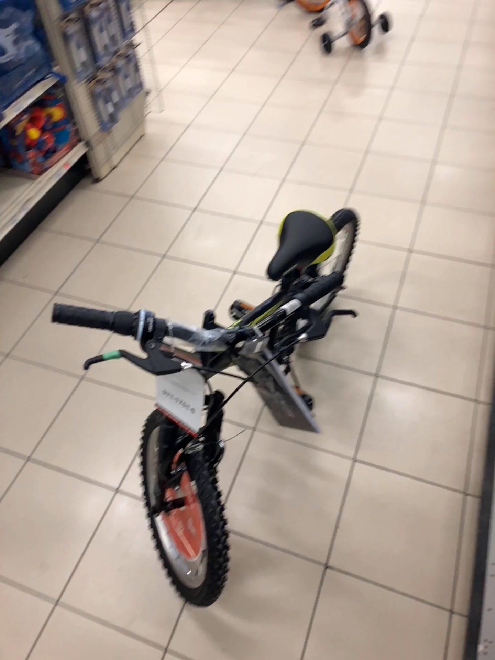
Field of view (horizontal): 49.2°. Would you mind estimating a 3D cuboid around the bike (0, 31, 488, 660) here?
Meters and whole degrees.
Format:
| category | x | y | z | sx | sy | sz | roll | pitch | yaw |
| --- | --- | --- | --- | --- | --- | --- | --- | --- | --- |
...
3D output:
| category | x | y | z | sx | sy | sz | roll | pitch | yaw |
| --- | --- | --- | --- | --- | --- | --- | --- | --- | --- |
| bike | 0.115 | -0.005 | 1.322 | 0.550 | 0.861 | 1.197 | 15 | 53 | 16 |
